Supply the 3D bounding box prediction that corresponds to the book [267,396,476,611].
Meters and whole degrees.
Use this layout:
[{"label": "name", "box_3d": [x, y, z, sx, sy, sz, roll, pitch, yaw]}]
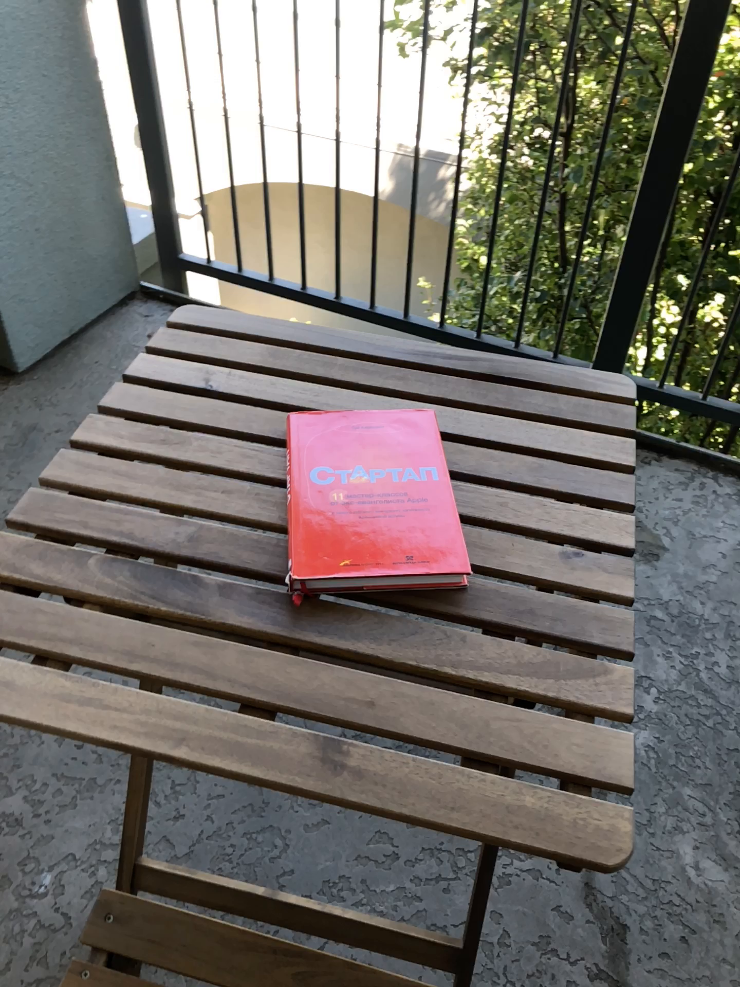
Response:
[{"label": "book", "box_3d": [-0.008, 0.000, 0.803, 0.180, 0.050, 0.241, -2, 44, -5]}]
